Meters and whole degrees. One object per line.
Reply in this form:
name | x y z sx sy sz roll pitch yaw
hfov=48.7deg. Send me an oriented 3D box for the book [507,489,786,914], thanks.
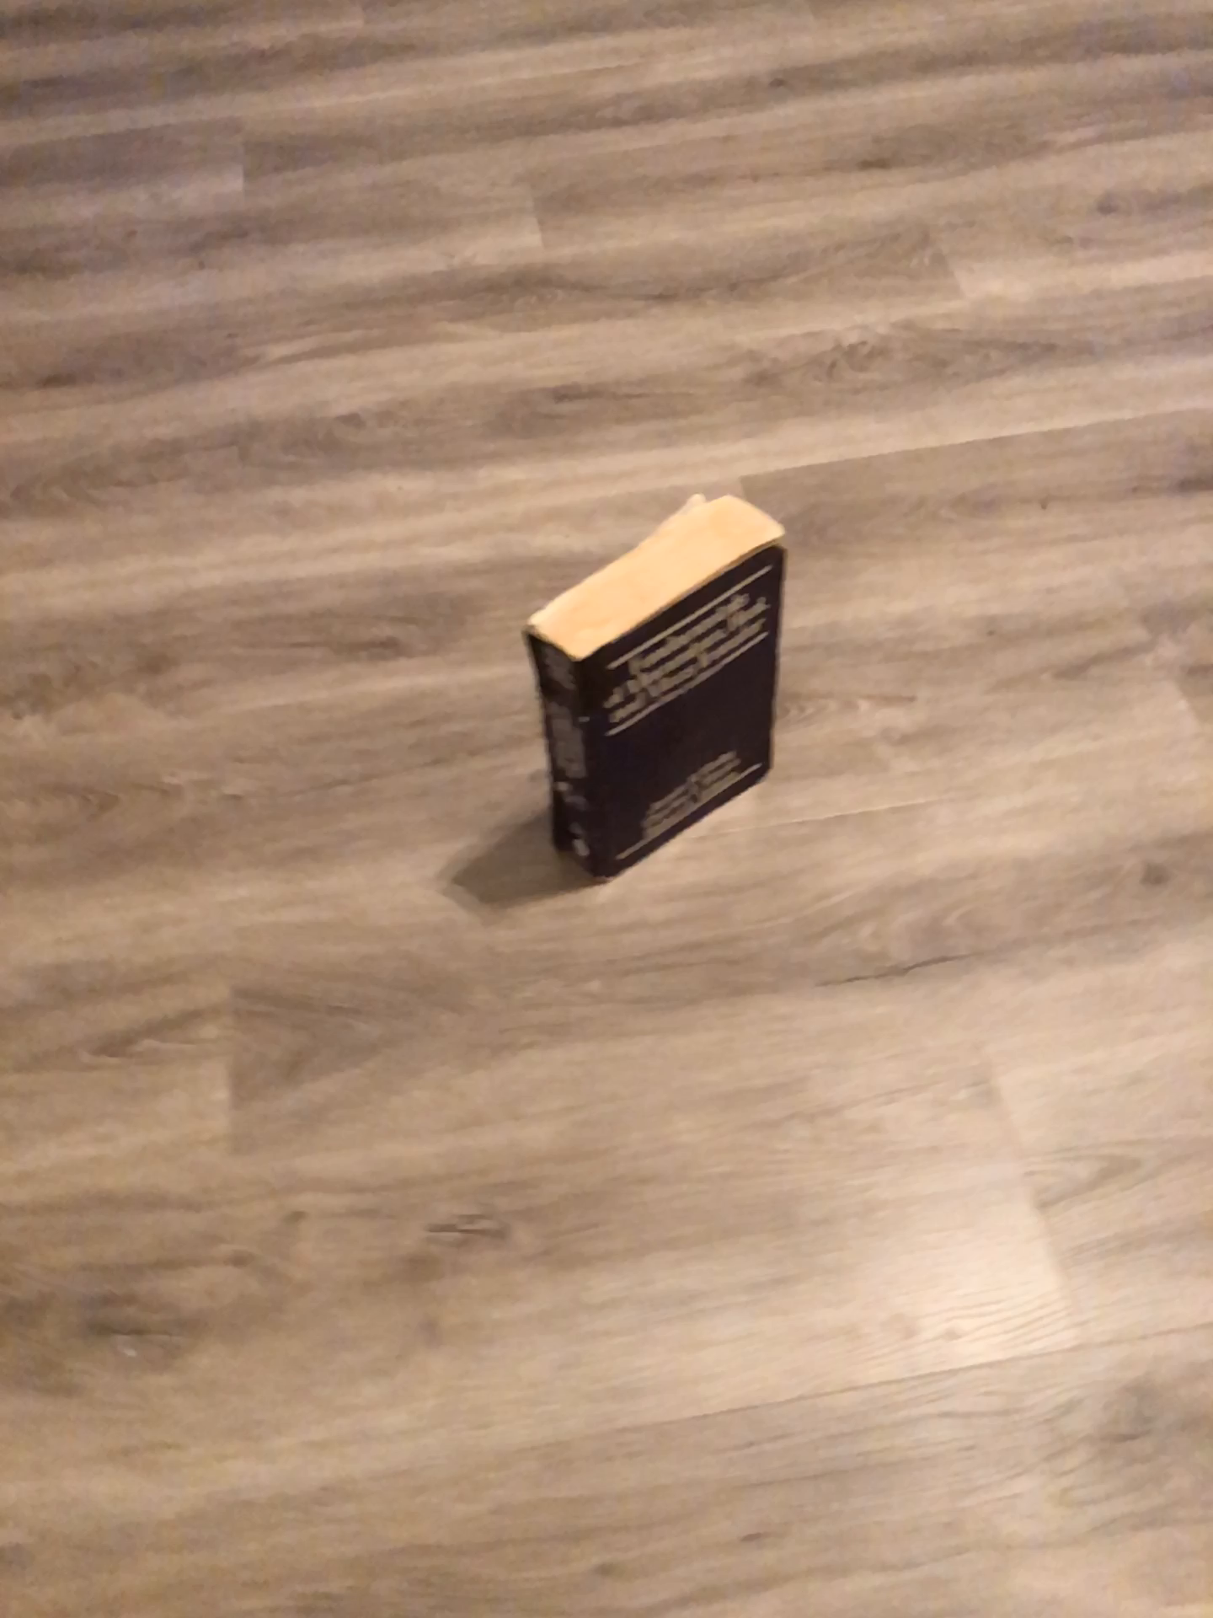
book | 0.031 -0.059 0.826 0.155 0.219 0.060 -37 58 -22
